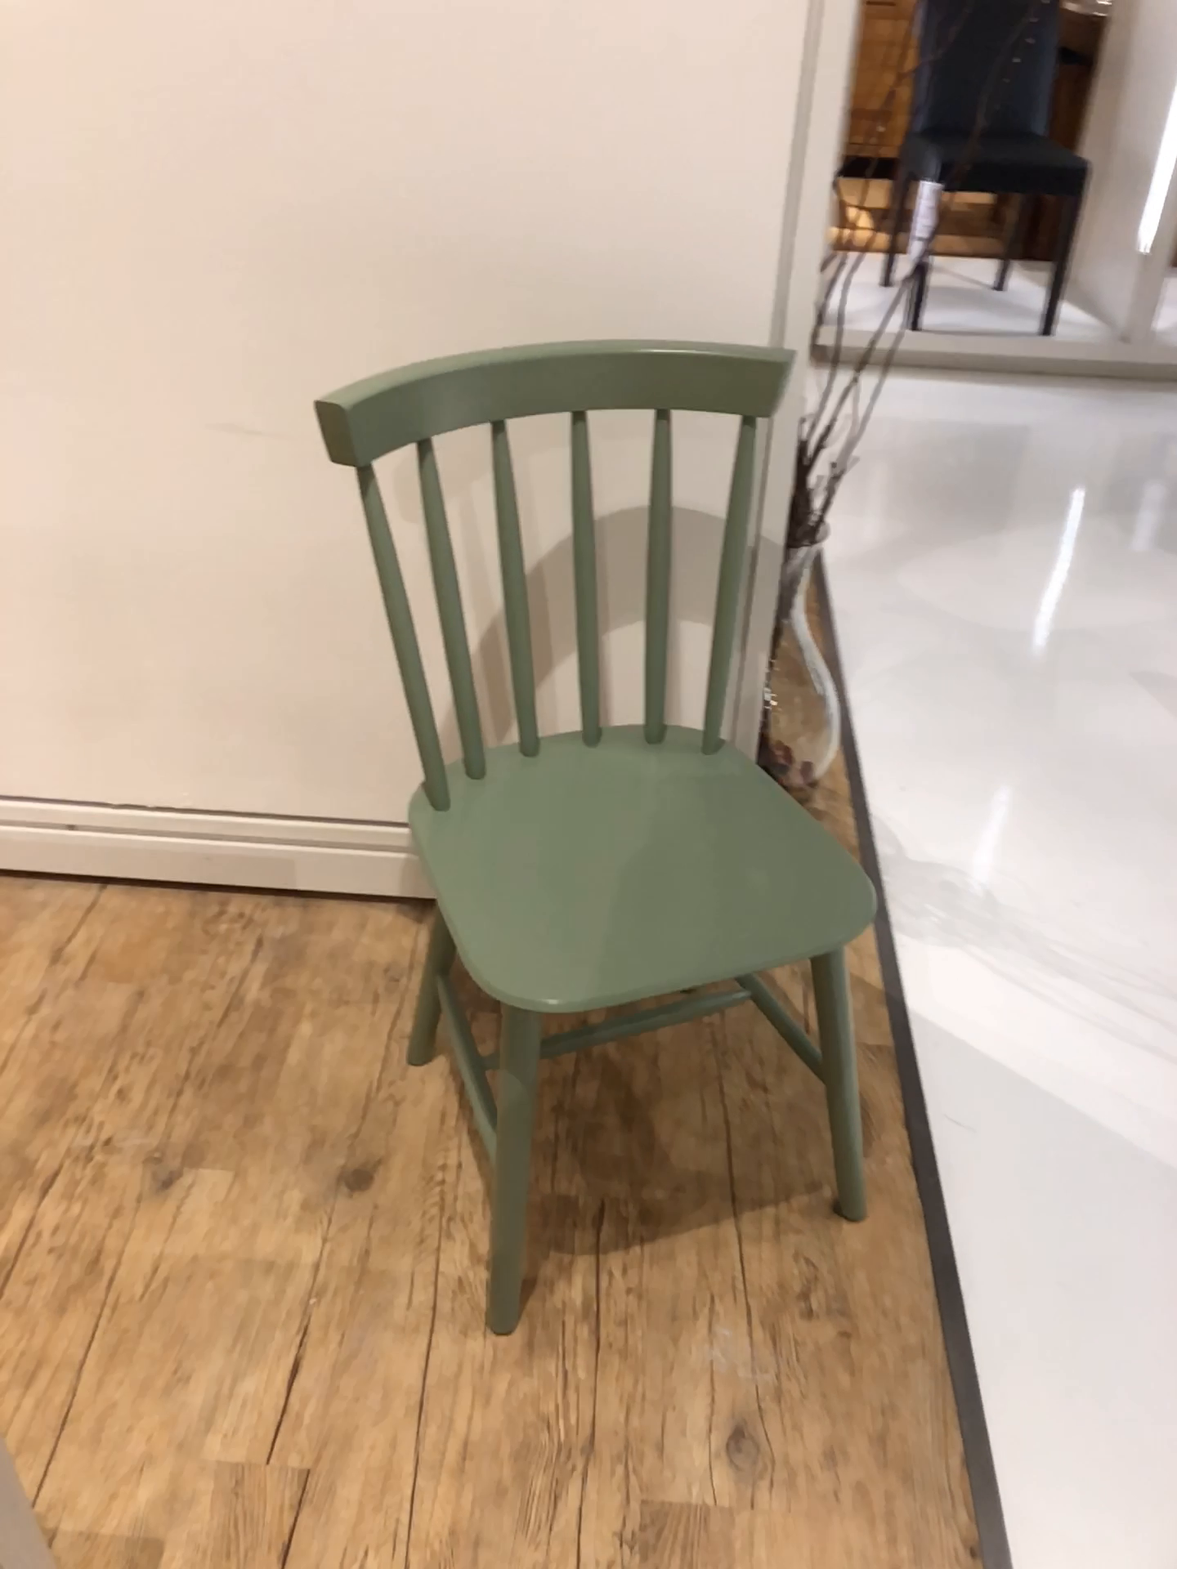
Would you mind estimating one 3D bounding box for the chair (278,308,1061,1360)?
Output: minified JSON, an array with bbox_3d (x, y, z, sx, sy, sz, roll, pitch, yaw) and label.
[{"bbox_3d":[0.013,0.031,1.276,0.471,0.813,0.523,-10,36,-18],"label":"chair"}]
